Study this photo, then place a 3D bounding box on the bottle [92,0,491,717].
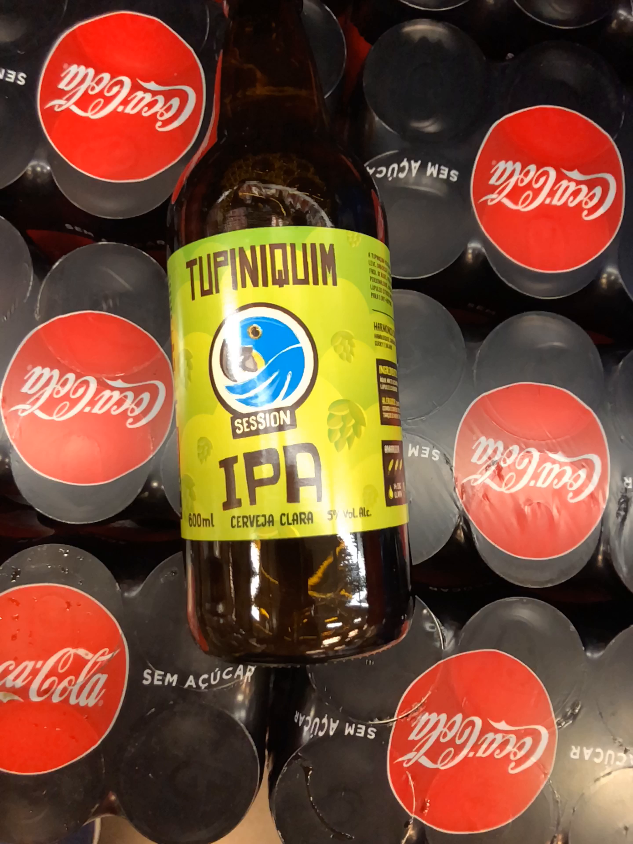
[{"bbox_3d":[-0.011,-0.055,0.226,0.090,0.070,0.260,-4,85,-4],"label":"bottle"}]
